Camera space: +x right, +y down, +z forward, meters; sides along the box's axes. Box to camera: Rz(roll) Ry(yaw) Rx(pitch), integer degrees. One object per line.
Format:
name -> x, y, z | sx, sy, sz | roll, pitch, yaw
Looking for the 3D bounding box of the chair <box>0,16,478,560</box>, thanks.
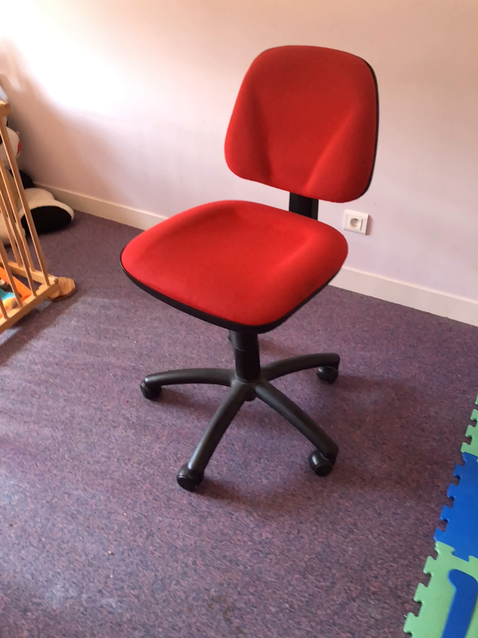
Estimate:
chair -> 0.024, -0.121, 1.214 | 0.640, 0.894, 0.674 | 24, 44, 29
